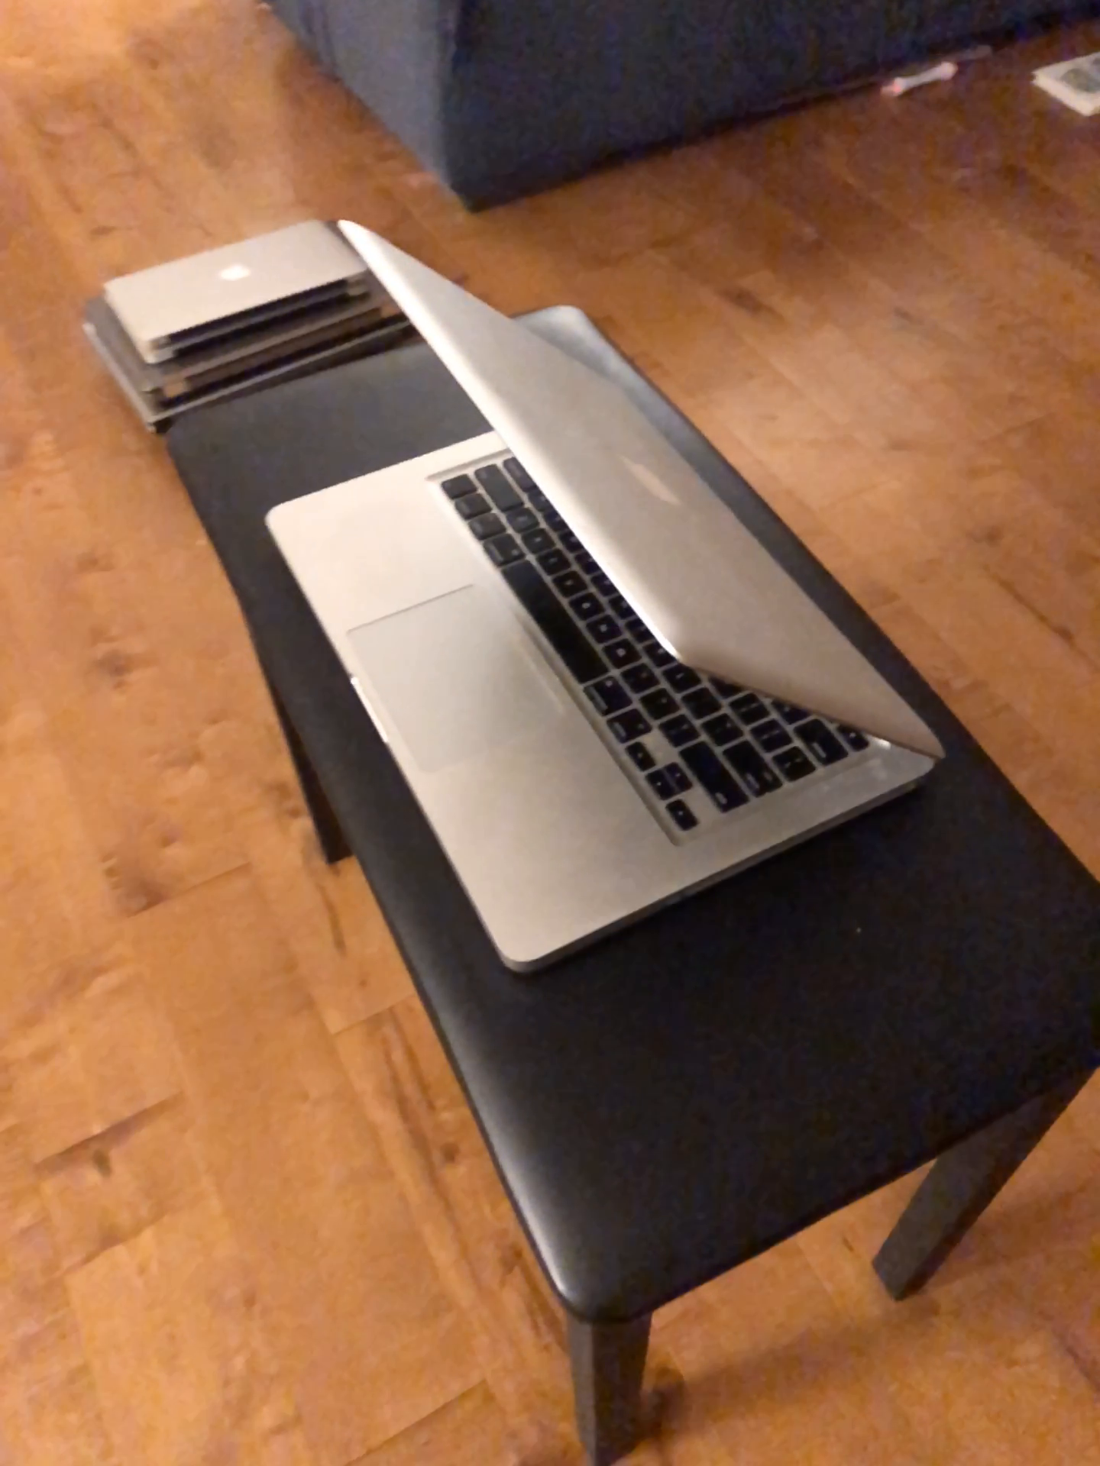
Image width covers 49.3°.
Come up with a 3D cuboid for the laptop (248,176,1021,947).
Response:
[{"bbox_3d":[0.014,-0.101,0.555,0.208,0.144,0.311,-21,51,-14],"label":"laptop"}]
